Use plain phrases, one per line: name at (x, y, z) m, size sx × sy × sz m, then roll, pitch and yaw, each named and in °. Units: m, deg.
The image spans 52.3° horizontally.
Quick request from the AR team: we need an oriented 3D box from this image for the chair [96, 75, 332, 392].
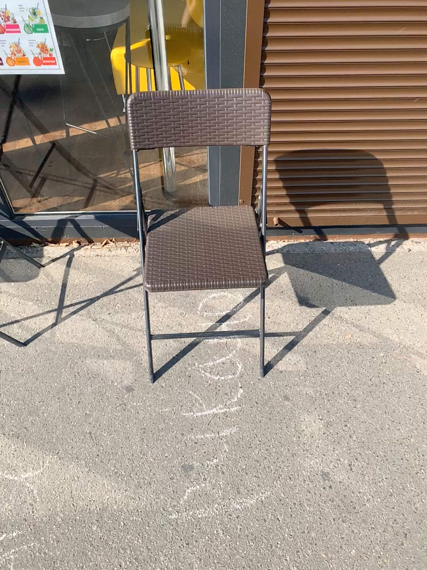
chair at (-0.016, -0.141, 1.373) m, size 0.480 × 0.767 × 0.613 m, roll -2°, pitch 47°, yaw -2°
